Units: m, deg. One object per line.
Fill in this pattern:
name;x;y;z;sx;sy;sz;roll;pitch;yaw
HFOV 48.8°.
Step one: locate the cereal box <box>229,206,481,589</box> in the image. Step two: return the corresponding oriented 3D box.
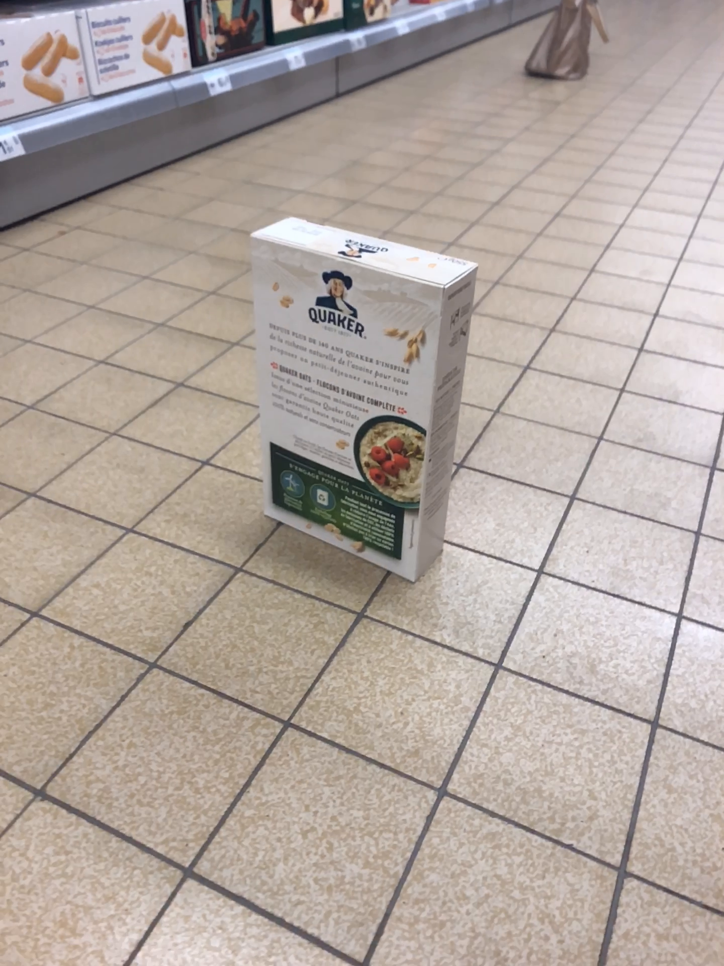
cereal box;-0.009;-0.055;0.551;0.150;0.228;0.050;22;41;26
